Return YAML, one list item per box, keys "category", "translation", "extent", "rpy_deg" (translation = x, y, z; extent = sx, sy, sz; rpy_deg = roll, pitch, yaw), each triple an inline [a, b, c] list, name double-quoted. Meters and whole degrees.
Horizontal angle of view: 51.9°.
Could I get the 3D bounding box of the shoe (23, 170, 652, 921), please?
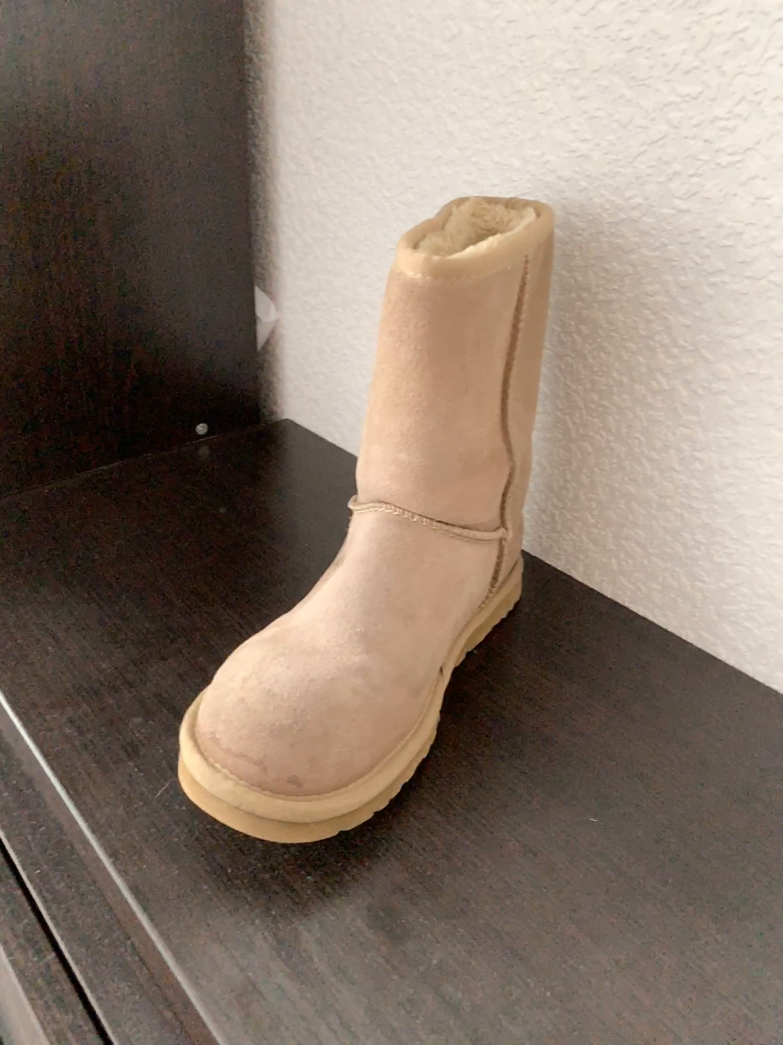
- category: "shoe"
  translation: [0.003, -0.020, 0.369]
  extent: [0.116, 0.229, 0.261]
  rpy_deg: [19, 34, 25]
